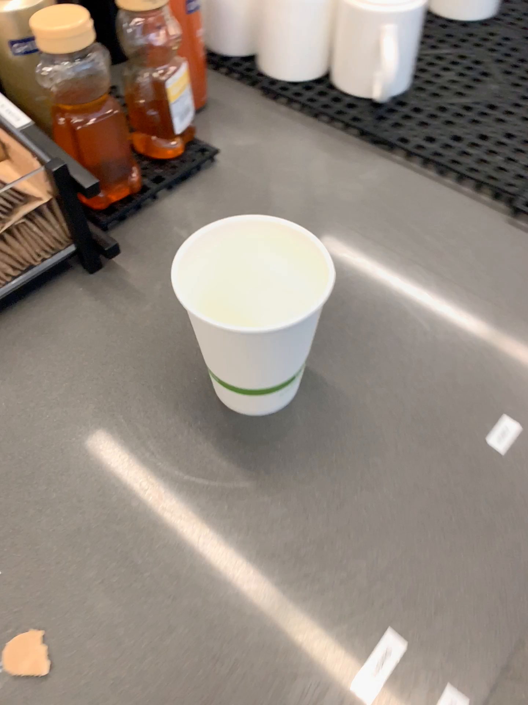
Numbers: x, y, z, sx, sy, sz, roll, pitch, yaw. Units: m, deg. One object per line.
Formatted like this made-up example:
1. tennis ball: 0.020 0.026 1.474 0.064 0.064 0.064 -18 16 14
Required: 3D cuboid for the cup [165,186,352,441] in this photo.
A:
1. cup: -0.006 -0.018 0.324 0.080 0.120 0.080 0 53 0
